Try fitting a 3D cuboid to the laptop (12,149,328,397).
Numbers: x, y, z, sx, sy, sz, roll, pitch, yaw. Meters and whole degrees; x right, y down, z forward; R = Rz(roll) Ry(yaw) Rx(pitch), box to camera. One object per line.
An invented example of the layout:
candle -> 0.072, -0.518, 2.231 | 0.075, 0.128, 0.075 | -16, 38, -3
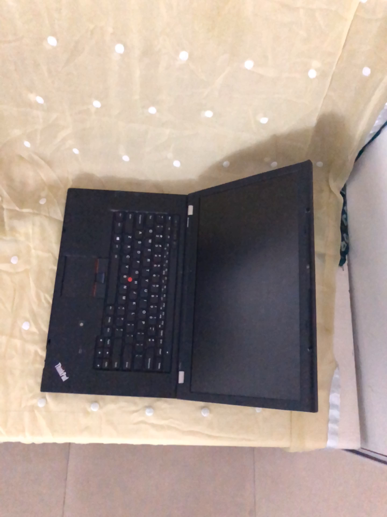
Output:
laptop -> -0.031, 0.028, 0.689 | 0.424, 0.157, 0.348 | 2, 75, 2
